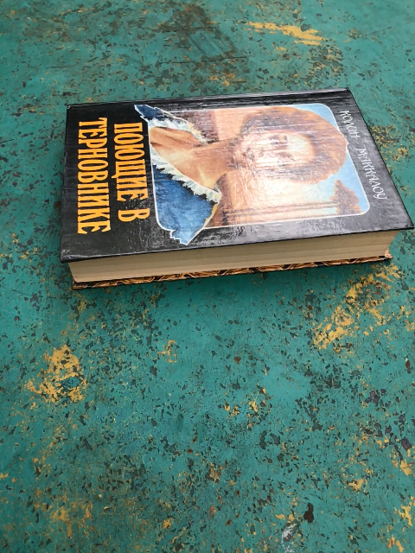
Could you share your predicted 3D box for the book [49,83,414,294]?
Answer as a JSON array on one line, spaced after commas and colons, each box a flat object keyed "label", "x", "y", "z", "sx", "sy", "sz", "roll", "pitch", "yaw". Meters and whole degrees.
[{"label": "book", "x": 0.011, "y": -0.065, "z": 0.303, "sx": 0.208, "sy": 0.032, "sz": 0.139, "roll": -5, "pitch": 58, "yaw": -6}]
